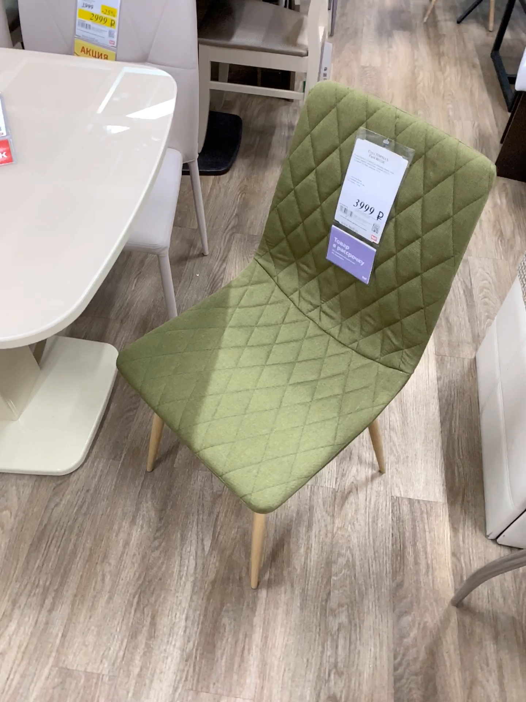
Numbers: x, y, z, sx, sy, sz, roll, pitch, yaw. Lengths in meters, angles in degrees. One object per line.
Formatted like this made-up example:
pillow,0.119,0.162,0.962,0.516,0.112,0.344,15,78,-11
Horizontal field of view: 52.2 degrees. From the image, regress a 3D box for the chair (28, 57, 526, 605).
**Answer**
chair,0.038,0.007,1.093,0.561,0.836,0.501,-36,61,-26
